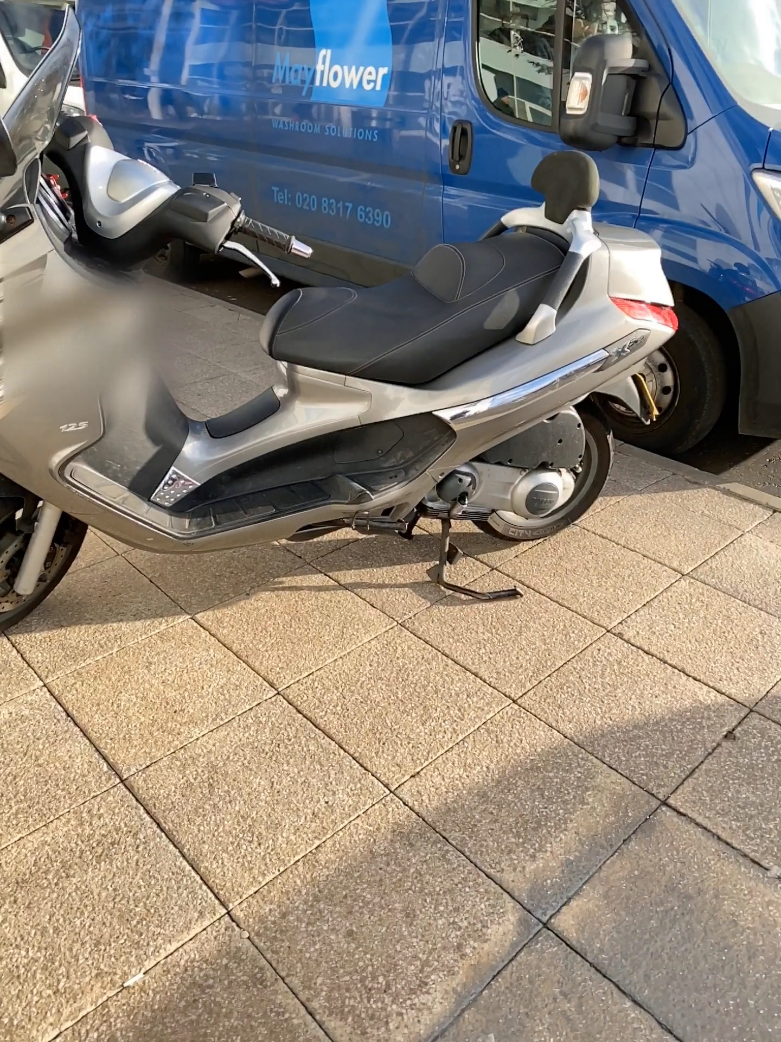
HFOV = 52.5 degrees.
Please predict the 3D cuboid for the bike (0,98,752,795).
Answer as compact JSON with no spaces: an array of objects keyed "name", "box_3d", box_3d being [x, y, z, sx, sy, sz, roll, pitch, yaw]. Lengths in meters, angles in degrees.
[{"name":"bike","box_3d":[-0.176,-0.300,1.715,1.655,1.062,0.657,-12,32,-21]}]
